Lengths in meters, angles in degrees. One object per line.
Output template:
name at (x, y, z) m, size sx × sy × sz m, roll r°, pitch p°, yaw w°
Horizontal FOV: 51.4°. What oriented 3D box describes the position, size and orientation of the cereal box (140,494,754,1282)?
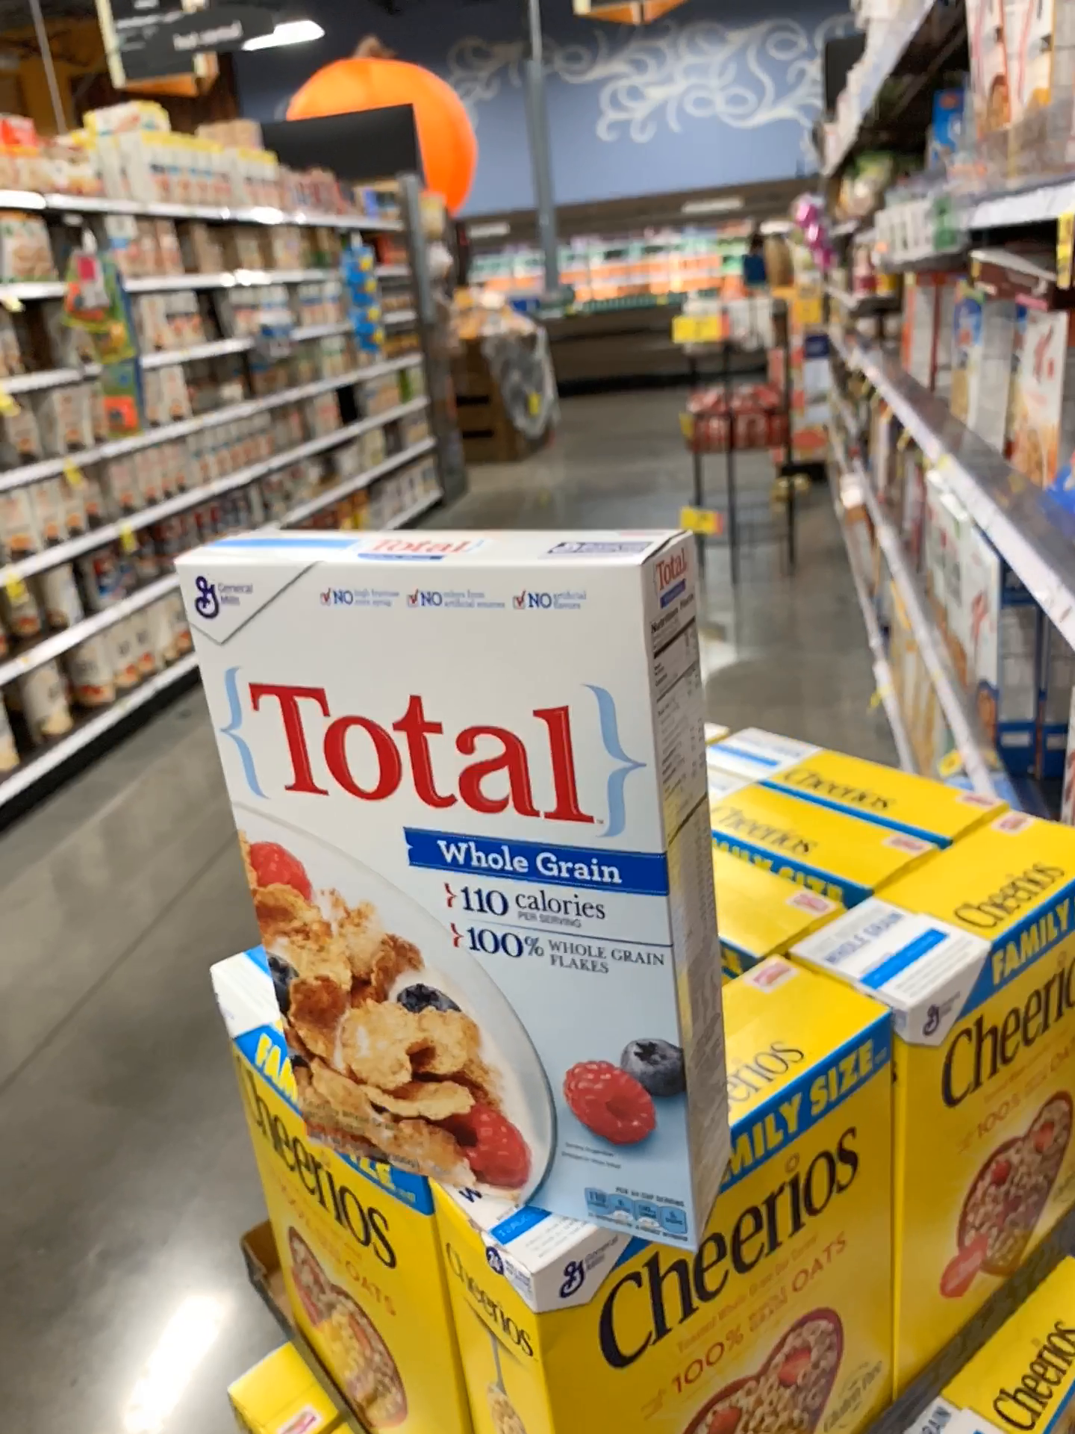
cereal box at (-0.030, 0.067, 0.453) m, size 0.210 × 0.299 × 0.050 m, roll 4°, pitch 23°, yaw 27°
